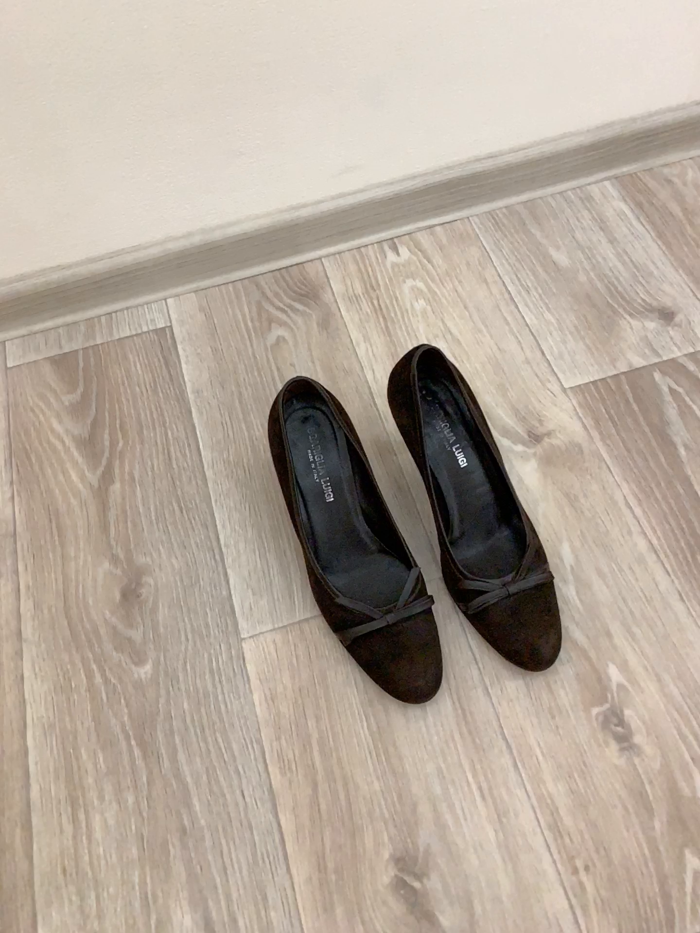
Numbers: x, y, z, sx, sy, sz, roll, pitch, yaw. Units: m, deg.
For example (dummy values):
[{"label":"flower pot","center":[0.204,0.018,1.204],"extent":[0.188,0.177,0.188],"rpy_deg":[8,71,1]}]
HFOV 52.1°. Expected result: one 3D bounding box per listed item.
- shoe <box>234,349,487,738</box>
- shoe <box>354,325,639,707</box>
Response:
[{"label":"shoe","center":[0.001,0.052,0.541],"extent":[0.080,0.110,0.261],"rpy_deg":[-21,60,-8]},{"label":"shoe","center":[0.094,0.032,0.546],"extent":[0.080,0.110,0.261],"rpy_deg":[-22,60,-8]}]
